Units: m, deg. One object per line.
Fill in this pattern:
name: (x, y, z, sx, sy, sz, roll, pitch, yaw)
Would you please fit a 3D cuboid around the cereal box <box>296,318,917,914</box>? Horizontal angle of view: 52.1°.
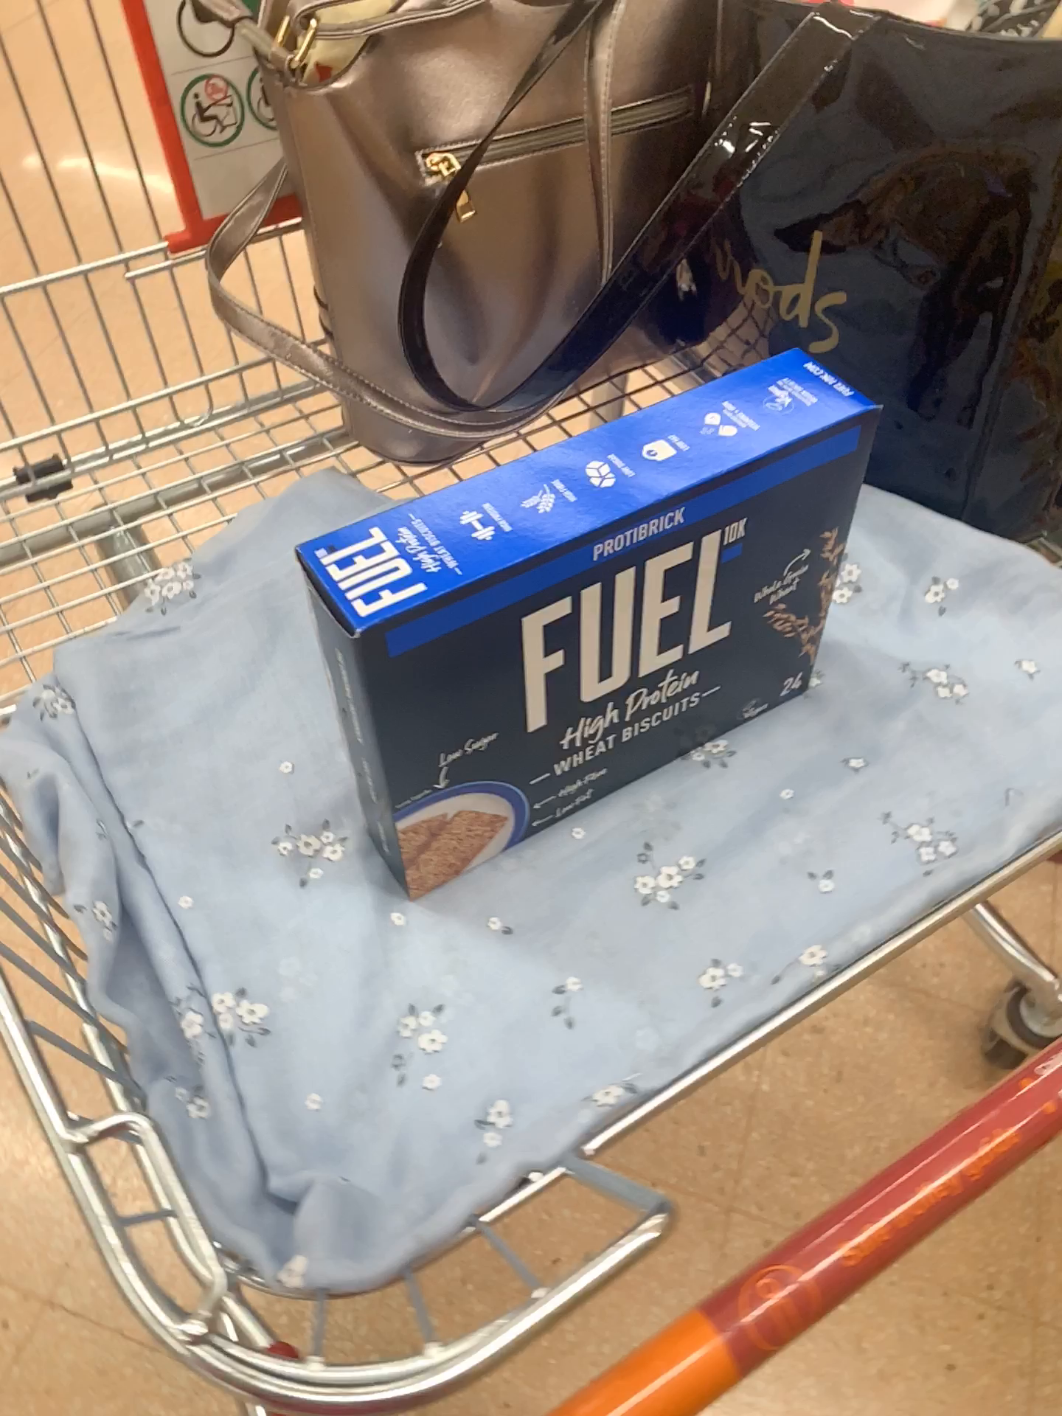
cereal box: (0.034, -0.037, 0.501, 0.251, 0.208, 0.060, -26, 57, -20)
